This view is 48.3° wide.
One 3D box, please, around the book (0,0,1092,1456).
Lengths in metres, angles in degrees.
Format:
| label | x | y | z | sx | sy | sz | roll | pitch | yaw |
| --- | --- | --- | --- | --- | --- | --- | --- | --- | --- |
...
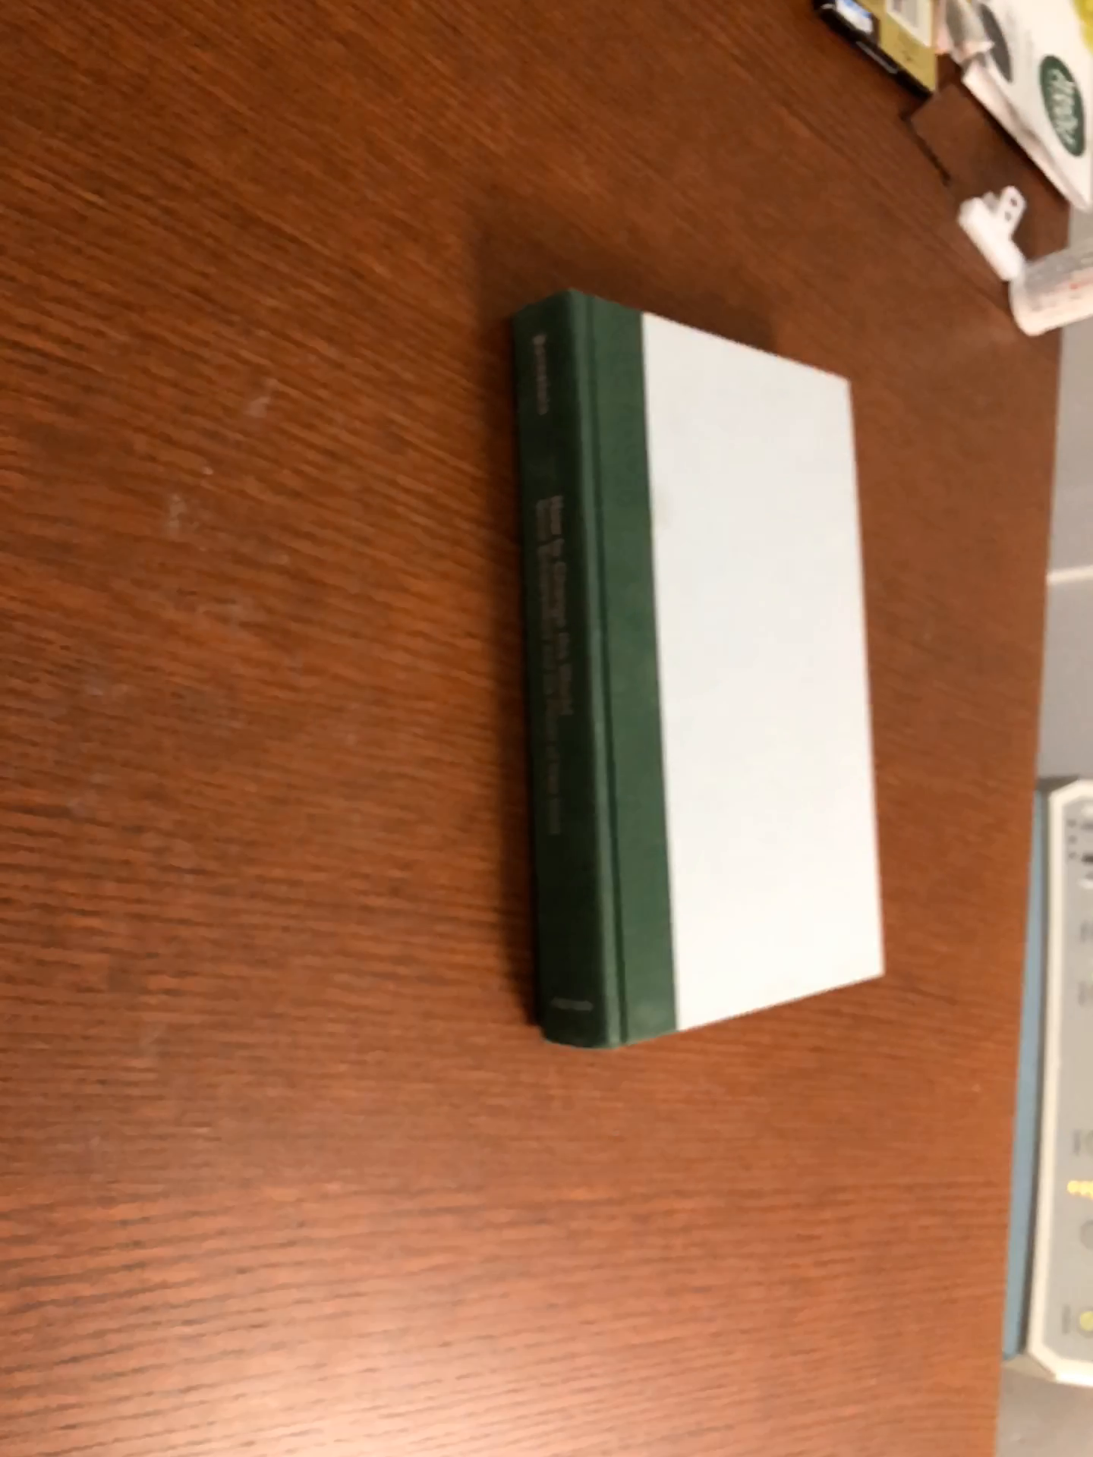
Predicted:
| label | x | y | z | sx | sy | sz | roll | pitch | yaw |
| --- | --- | --- | --- | --- | --- | --- | --- | --- | --- |
| book | 0.349 | 0.246 | 0.178 | 1.005 | 0.995 | 1.000 | -25 | 104 | -41 |
